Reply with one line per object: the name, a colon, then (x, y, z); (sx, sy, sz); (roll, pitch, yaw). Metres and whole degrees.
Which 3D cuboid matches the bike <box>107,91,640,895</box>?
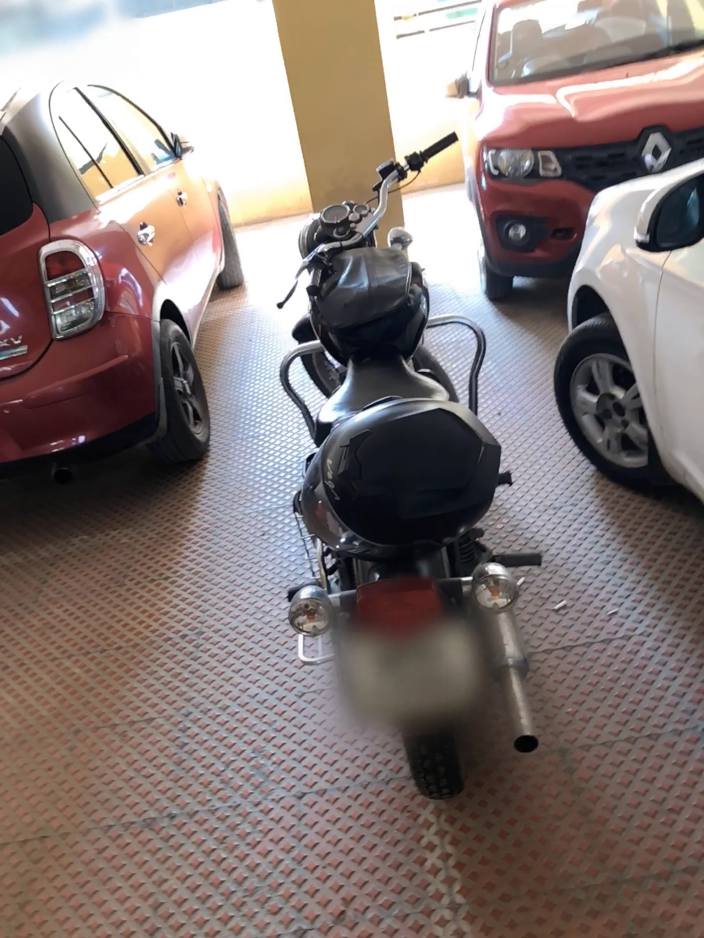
bike: (-0.054, -0.150, 2.038); (0.691, 1.217, 1.794); (-14, 33, -3)
